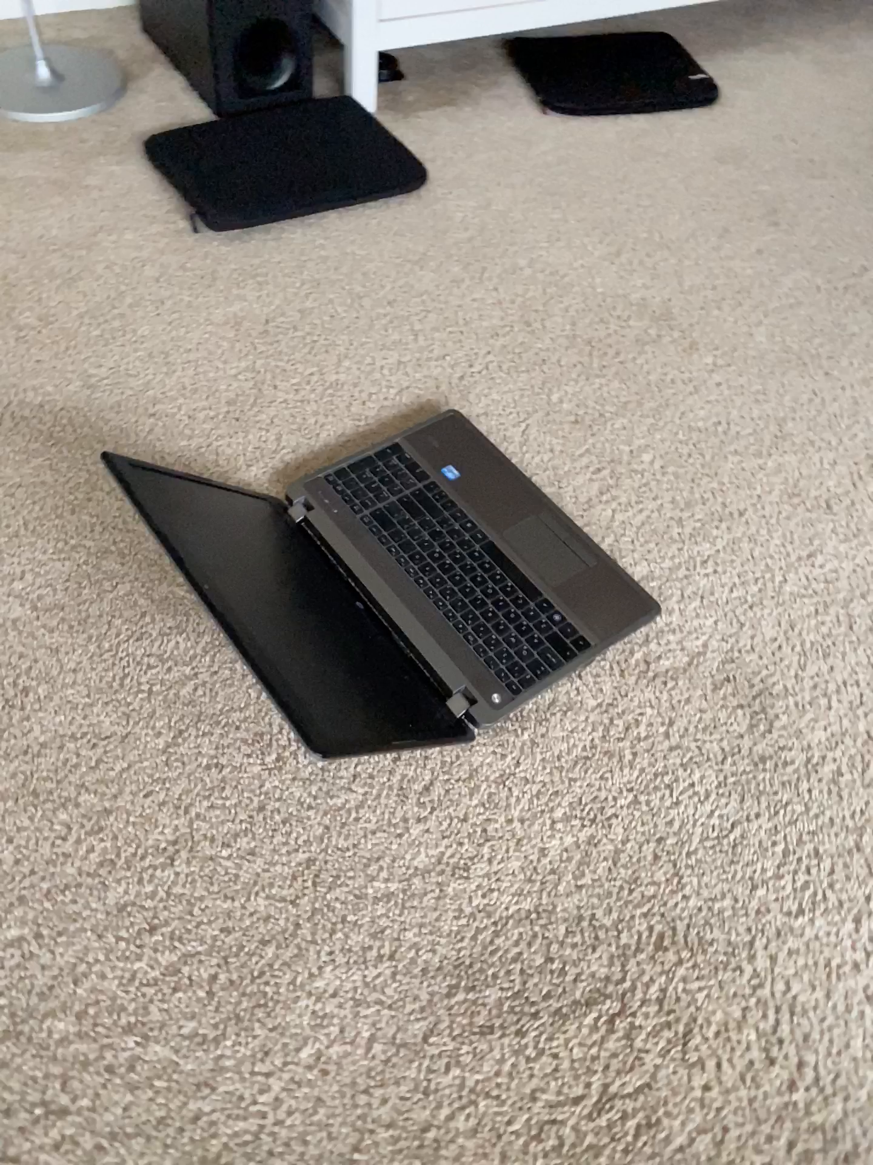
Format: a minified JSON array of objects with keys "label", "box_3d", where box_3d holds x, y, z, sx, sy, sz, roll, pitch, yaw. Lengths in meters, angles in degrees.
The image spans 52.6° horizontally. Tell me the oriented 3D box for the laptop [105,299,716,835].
[{"label":"laptop","box_3d":[-0.028,-0.048,0.891,0.435,0.162,0.375,-29,61,-24]}]
